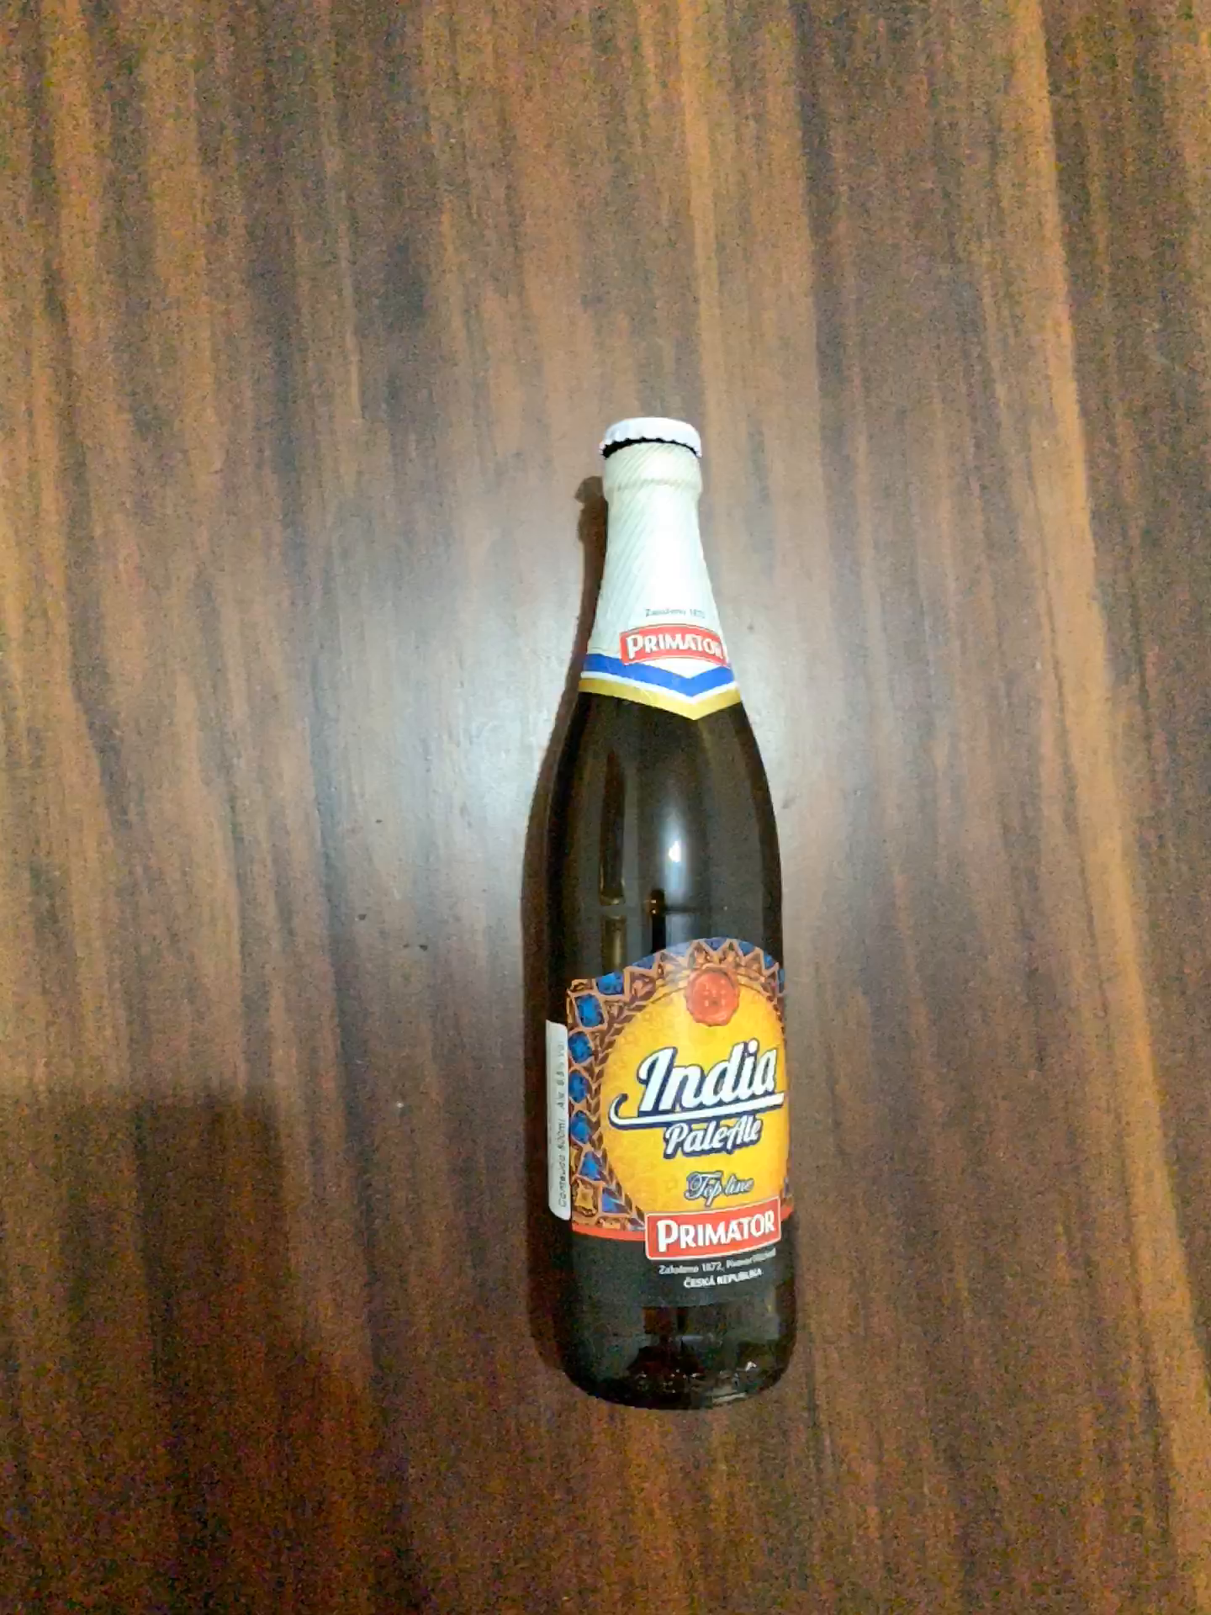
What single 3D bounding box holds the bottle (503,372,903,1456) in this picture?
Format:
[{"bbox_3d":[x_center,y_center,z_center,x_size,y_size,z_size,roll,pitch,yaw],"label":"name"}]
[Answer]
[{"bbox_3d":[0.023,0.023,0.340,0.080,0.060,0.260,-1,86,-17],"label":"bottle"}]
